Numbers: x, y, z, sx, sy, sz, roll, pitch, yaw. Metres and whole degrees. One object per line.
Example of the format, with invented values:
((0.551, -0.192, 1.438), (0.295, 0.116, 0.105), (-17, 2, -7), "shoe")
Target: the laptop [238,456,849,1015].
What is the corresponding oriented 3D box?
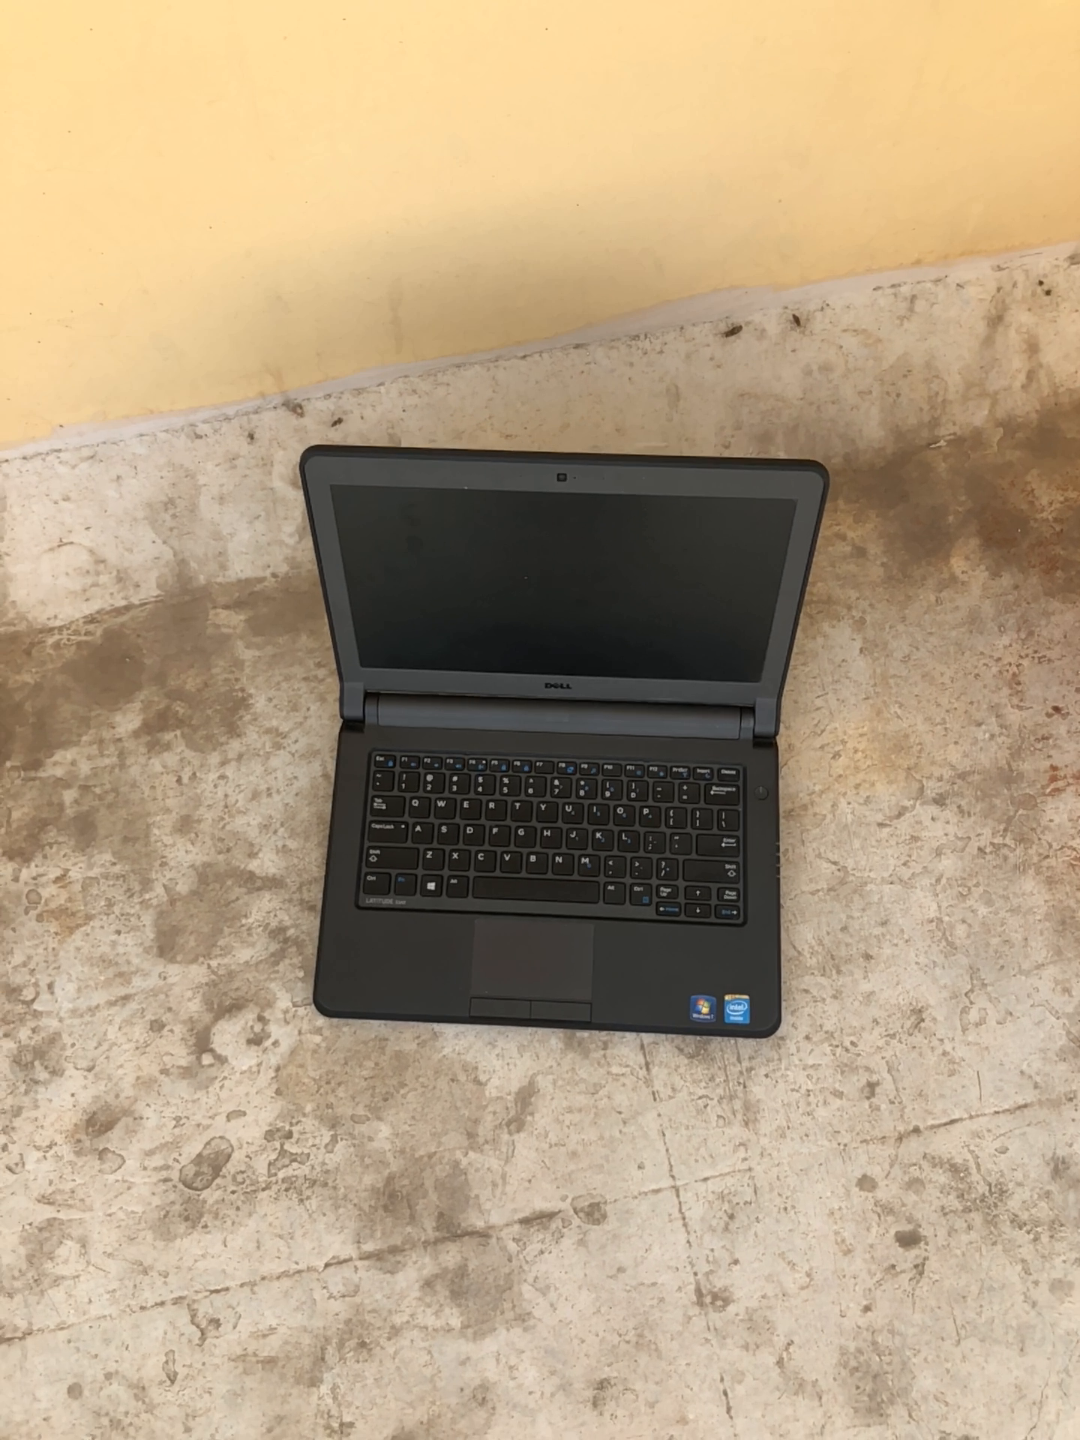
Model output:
((0.011, 0.019, 0.749), (0.308, 0.209, 0.299), (2, 70, 3), "laptop")
